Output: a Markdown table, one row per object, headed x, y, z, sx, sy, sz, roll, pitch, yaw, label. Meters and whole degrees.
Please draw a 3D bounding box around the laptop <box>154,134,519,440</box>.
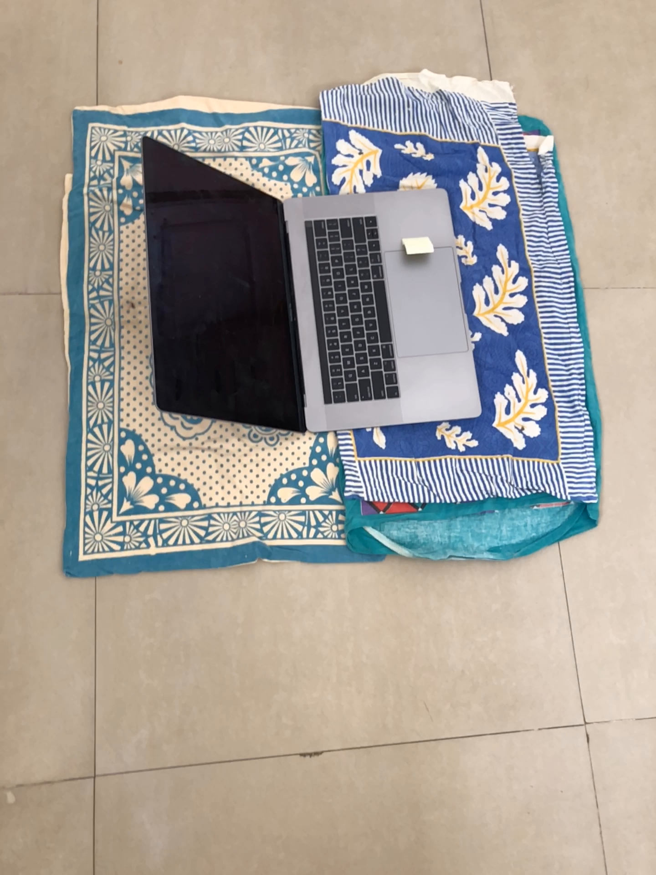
| x | y | z | sx | sy | sz | roll | pitch | yaw | label |
| --- | --- | --- | --- | --- | --- | --- | --- | --- | --- |
| -0.003 | -0.192 | 0.922 | 0.401 | 0.132 | 0.336 | -5 | 76 | -7 | laptop |
